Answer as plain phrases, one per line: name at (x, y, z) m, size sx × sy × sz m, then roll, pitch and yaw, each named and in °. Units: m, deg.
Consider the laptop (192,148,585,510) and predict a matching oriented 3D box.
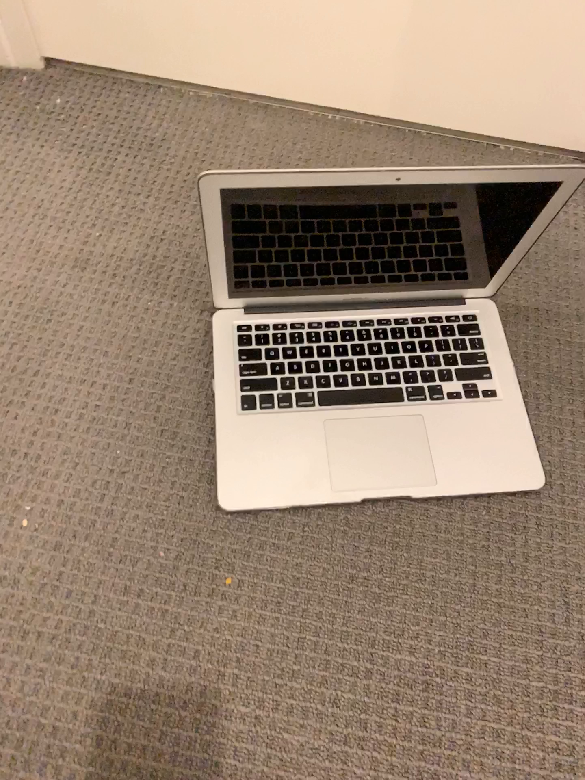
laptop at (0.085, -0.046, 0.532) m, size 0.322 × 0.215 × 0.227 m, roll -3°, pitch 63°, yaw -5°
